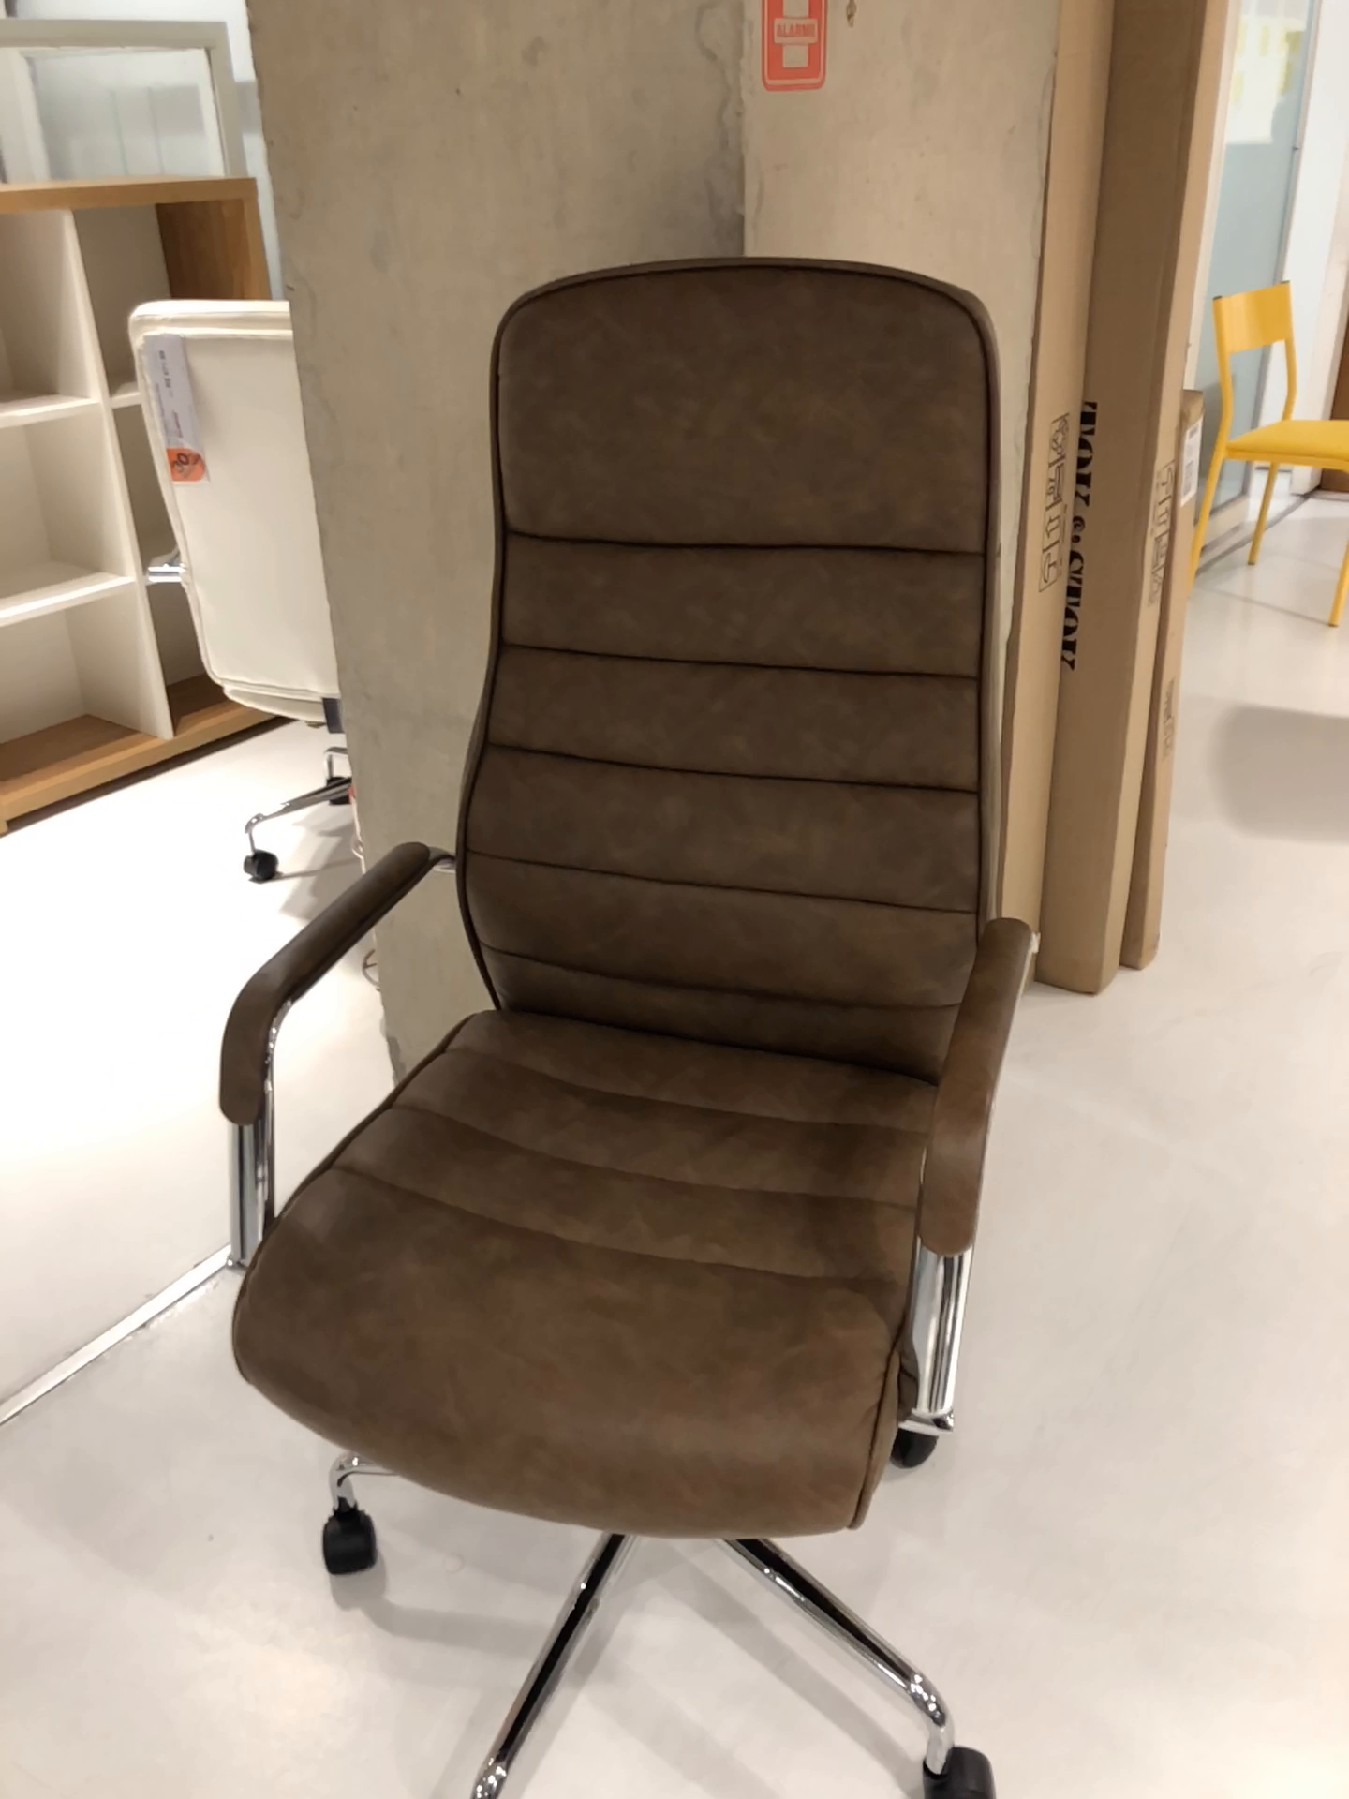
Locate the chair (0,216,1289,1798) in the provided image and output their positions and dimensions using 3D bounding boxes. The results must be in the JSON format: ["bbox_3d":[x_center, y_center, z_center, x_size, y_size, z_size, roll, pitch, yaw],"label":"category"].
[{"bbox_3d":[-0.002,0.080,1.023,0.640,0.963,0.634,9,29,20],"label":"chair"}]
